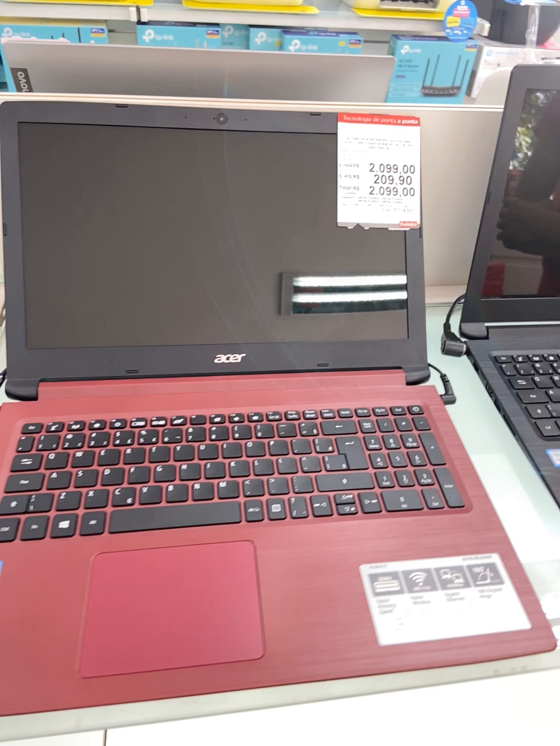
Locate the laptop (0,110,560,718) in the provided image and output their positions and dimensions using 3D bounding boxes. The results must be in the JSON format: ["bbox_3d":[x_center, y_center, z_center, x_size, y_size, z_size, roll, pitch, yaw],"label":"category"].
[{"bbox_3d":[-0.035,-0.030,0.443,0.391,0.193,0.431,-2,41,-8],"label":"laptop"}]
